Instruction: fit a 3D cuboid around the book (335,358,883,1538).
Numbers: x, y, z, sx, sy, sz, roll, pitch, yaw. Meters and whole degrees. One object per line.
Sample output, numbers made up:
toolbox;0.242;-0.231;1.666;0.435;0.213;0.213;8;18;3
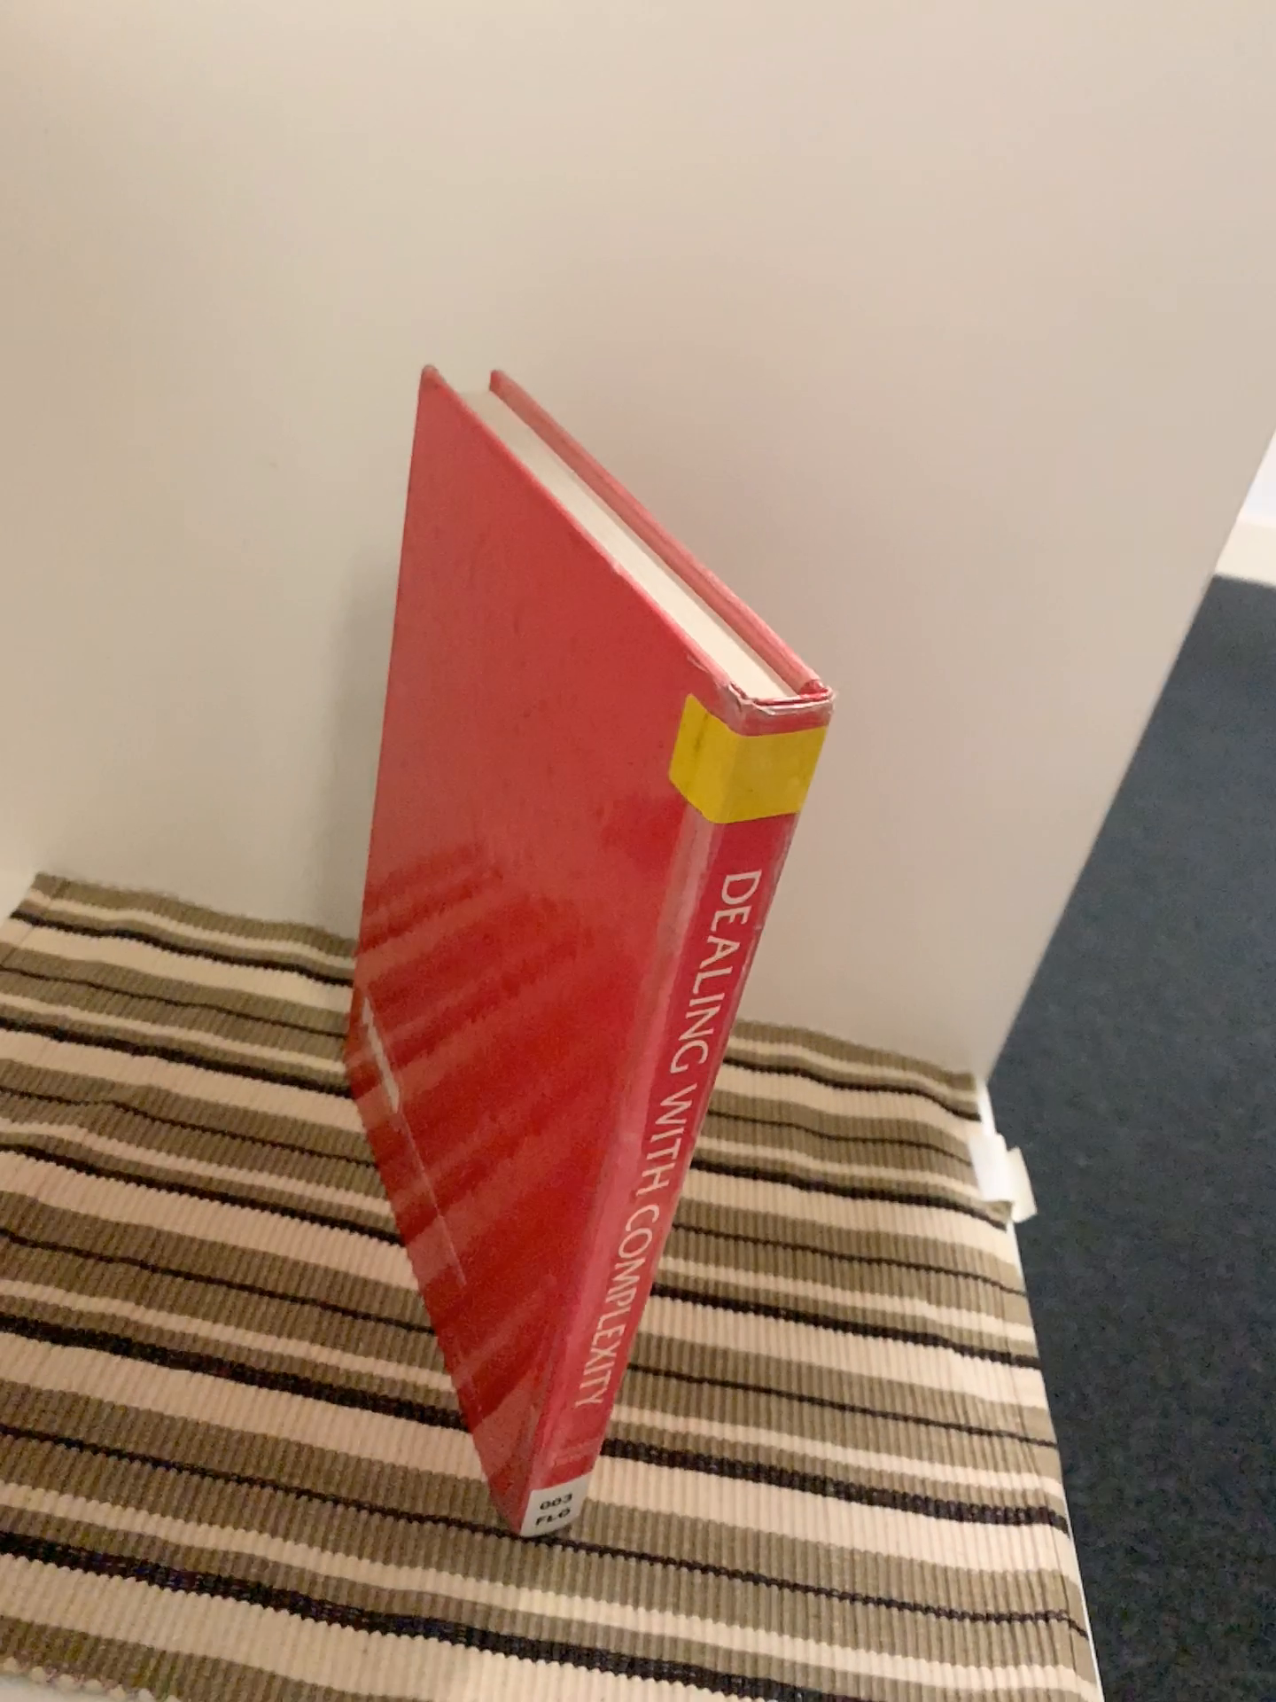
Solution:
book;-0.035;0.022;0.367;0.030;0.250;0.202;-4;36;-27
